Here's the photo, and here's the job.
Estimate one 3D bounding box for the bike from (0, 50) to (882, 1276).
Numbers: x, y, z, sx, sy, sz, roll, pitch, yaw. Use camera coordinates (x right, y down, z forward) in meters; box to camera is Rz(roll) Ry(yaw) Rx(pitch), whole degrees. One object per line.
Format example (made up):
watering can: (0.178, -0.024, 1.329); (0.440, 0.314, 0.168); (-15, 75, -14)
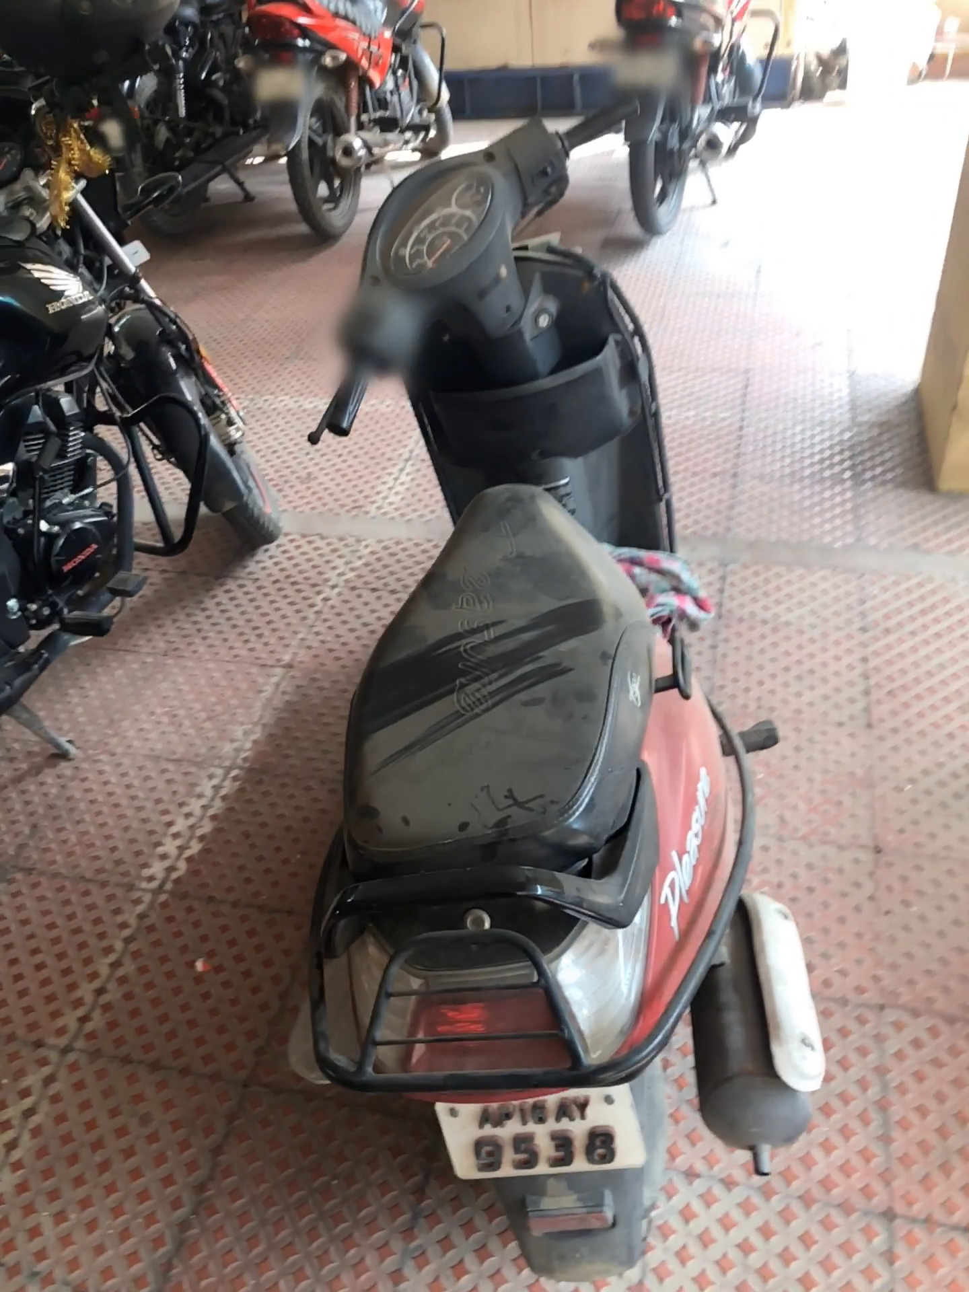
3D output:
bike: (-0.061, -0.149, 1.605); (0.599, 1.030, 1.659); (-4, 39, 1)
